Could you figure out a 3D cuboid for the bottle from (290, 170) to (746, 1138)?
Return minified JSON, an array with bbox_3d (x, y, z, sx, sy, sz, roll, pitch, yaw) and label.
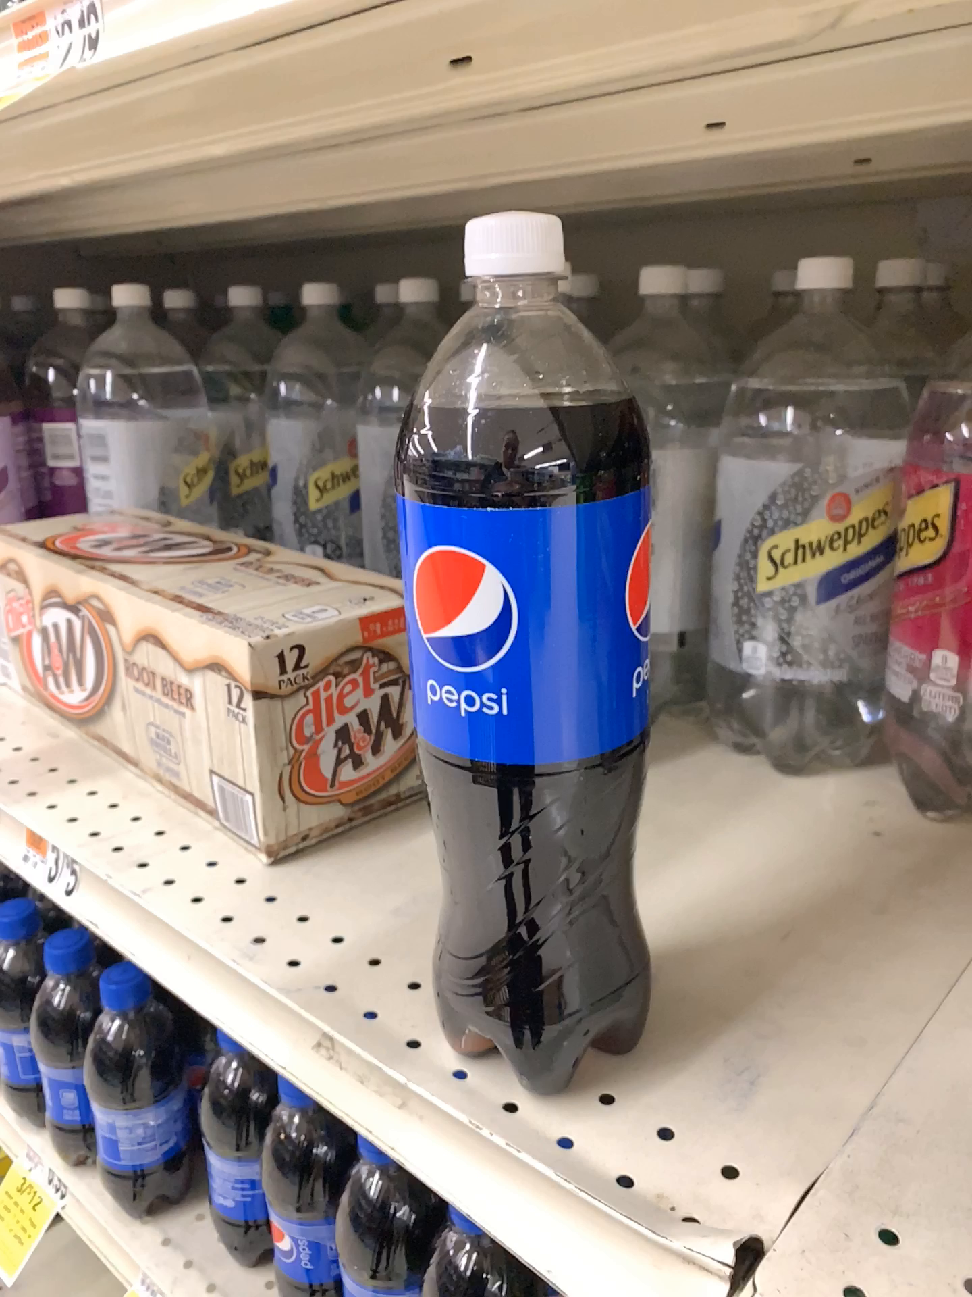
[{"bbox_3d":[0.013,0.001,0.339,0.101,0.279,0.090,13,22,38],"label":"bottle"}]
